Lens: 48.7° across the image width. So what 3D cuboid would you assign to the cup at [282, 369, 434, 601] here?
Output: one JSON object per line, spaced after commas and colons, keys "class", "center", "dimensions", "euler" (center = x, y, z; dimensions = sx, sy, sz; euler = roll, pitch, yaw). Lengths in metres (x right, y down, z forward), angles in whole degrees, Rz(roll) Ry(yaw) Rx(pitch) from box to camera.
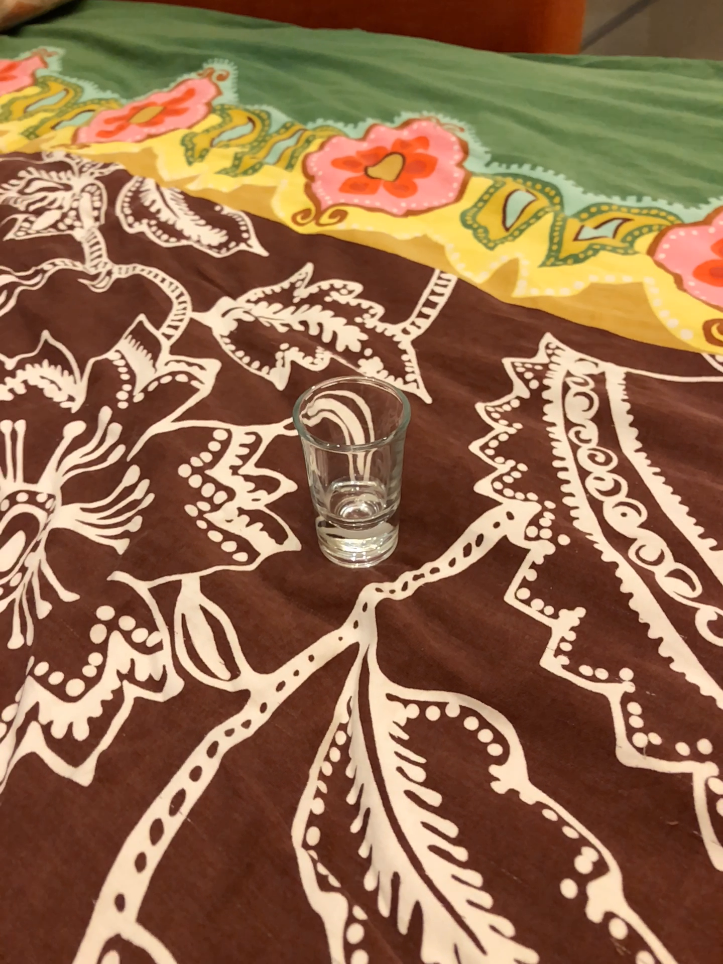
{"class": "cup", "center": [-0.003, 0.001, 0.307], "dimensions": [0.042, 0.069, 0.045], "euler": [0, 41, 0]}
